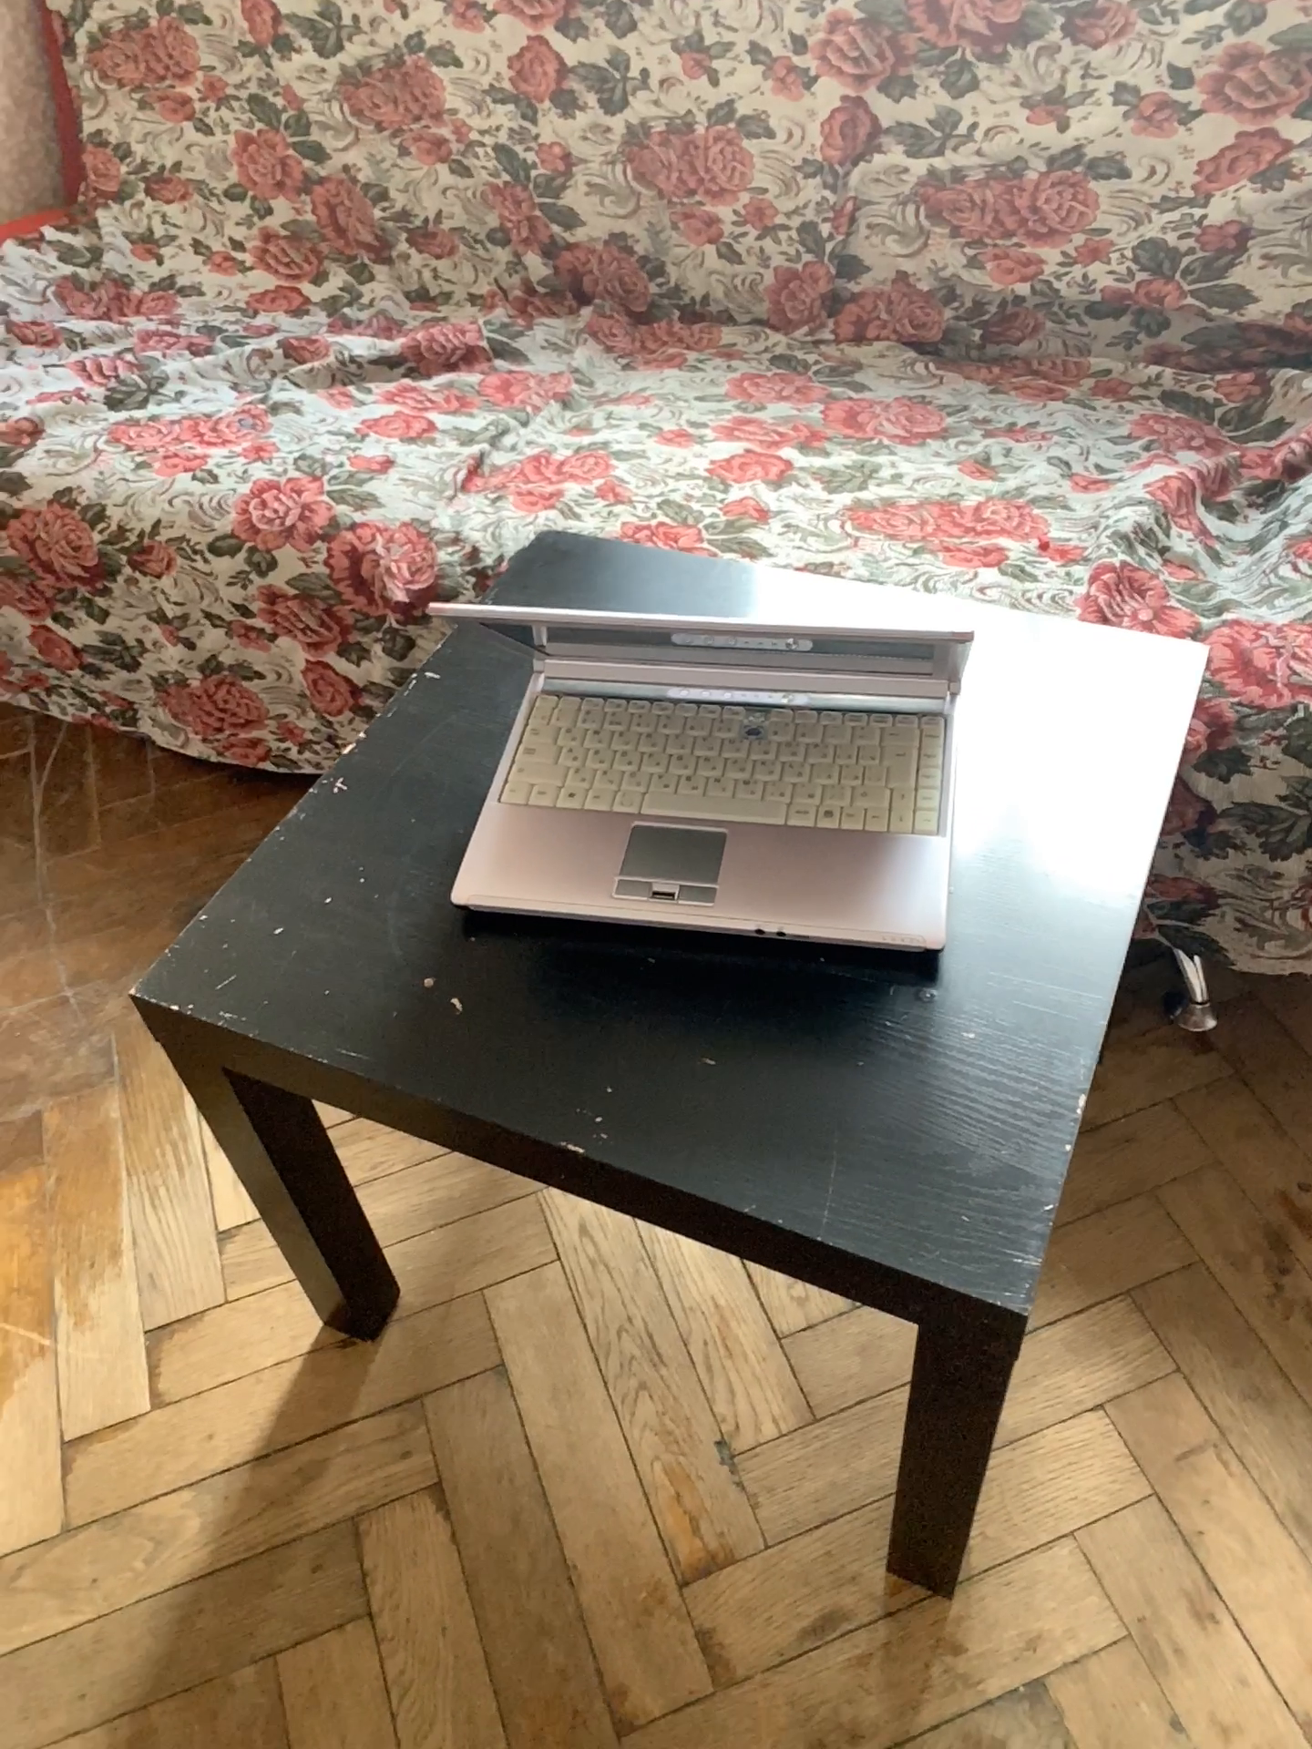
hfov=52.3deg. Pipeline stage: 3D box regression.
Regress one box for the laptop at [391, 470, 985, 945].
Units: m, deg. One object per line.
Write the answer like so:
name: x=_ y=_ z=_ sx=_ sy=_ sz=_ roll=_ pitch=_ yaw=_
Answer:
laptop: x=0.034 y=-0.110 z=0.812 sx=0.305 sy=0.156 sz=0.227 roll=5 pitch=48 yaw=11
